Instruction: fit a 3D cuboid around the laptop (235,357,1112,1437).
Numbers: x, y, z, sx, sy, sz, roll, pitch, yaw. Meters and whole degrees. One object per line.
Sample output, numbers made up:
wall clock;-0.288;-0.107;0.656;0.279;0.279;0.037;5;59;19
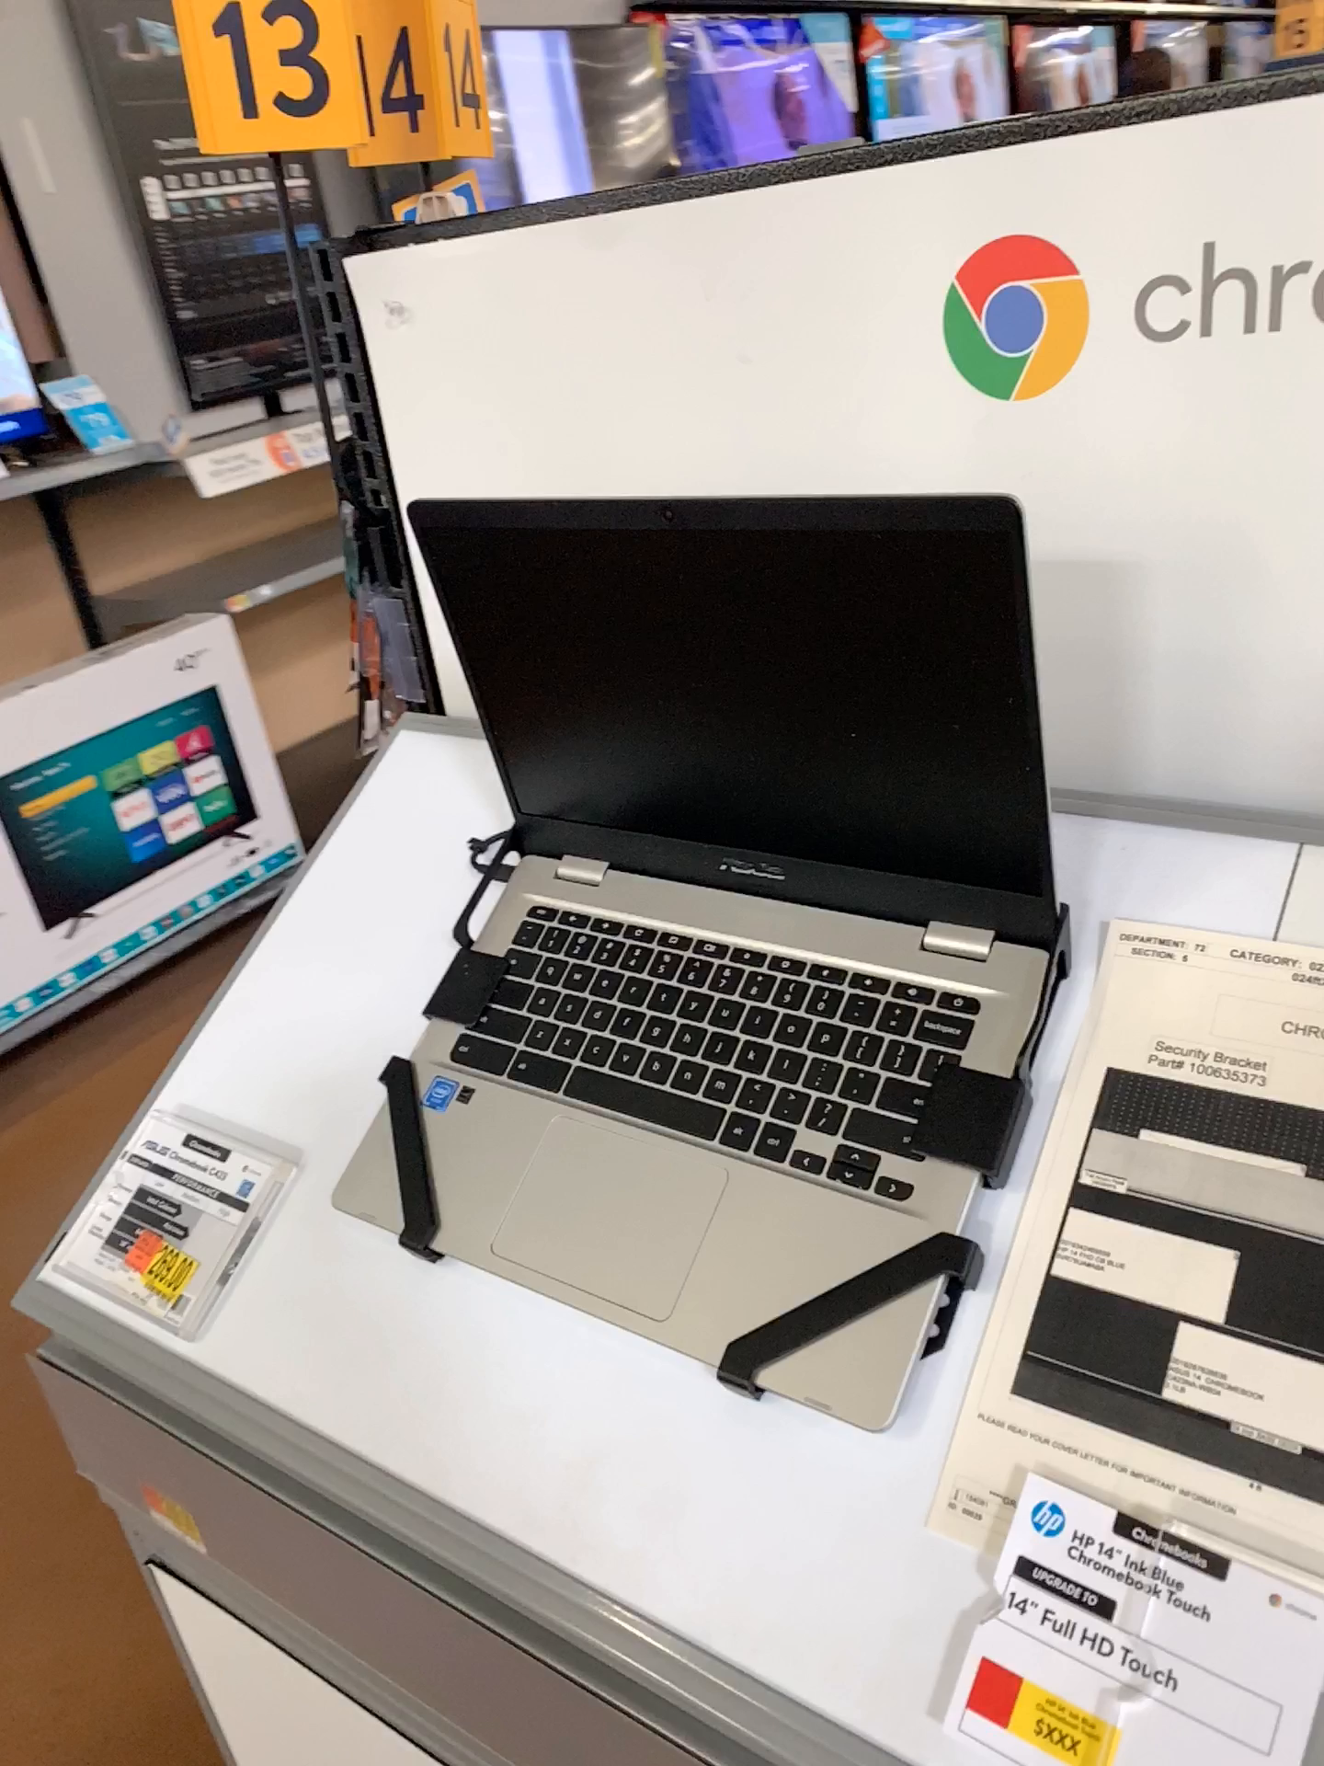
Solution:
laptop;0.011;-0.025;0.624;0.309;0.196;0.293;10;52;33
